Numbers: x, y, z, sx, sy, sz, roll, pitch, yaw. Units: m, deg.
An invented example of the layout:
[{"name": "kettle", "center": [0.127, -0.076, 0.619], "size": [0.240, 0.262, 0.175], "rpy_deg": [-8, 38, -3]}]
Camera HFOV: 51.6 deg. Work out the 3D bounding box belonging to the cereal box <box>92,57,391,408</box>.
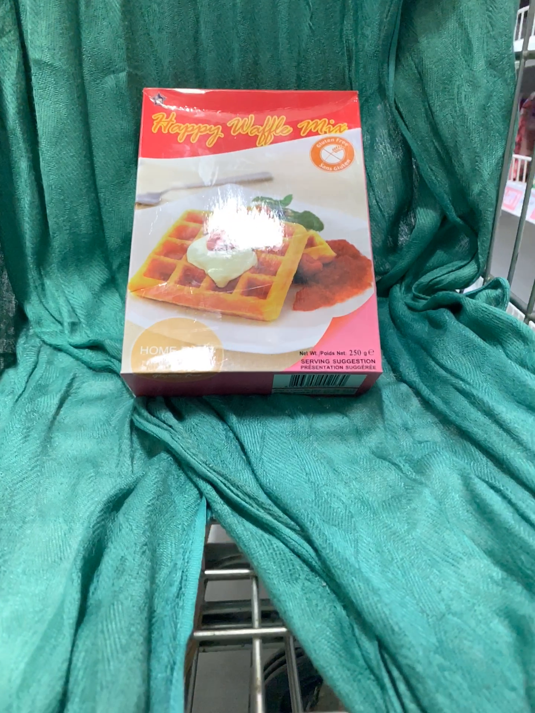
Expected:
[{"name": "cereal box", "center": [-0.012, -0.067, 0.292], "size": [0.130, 0.181, 0.050], "rpy_deg": [0, -18, 0]}]
